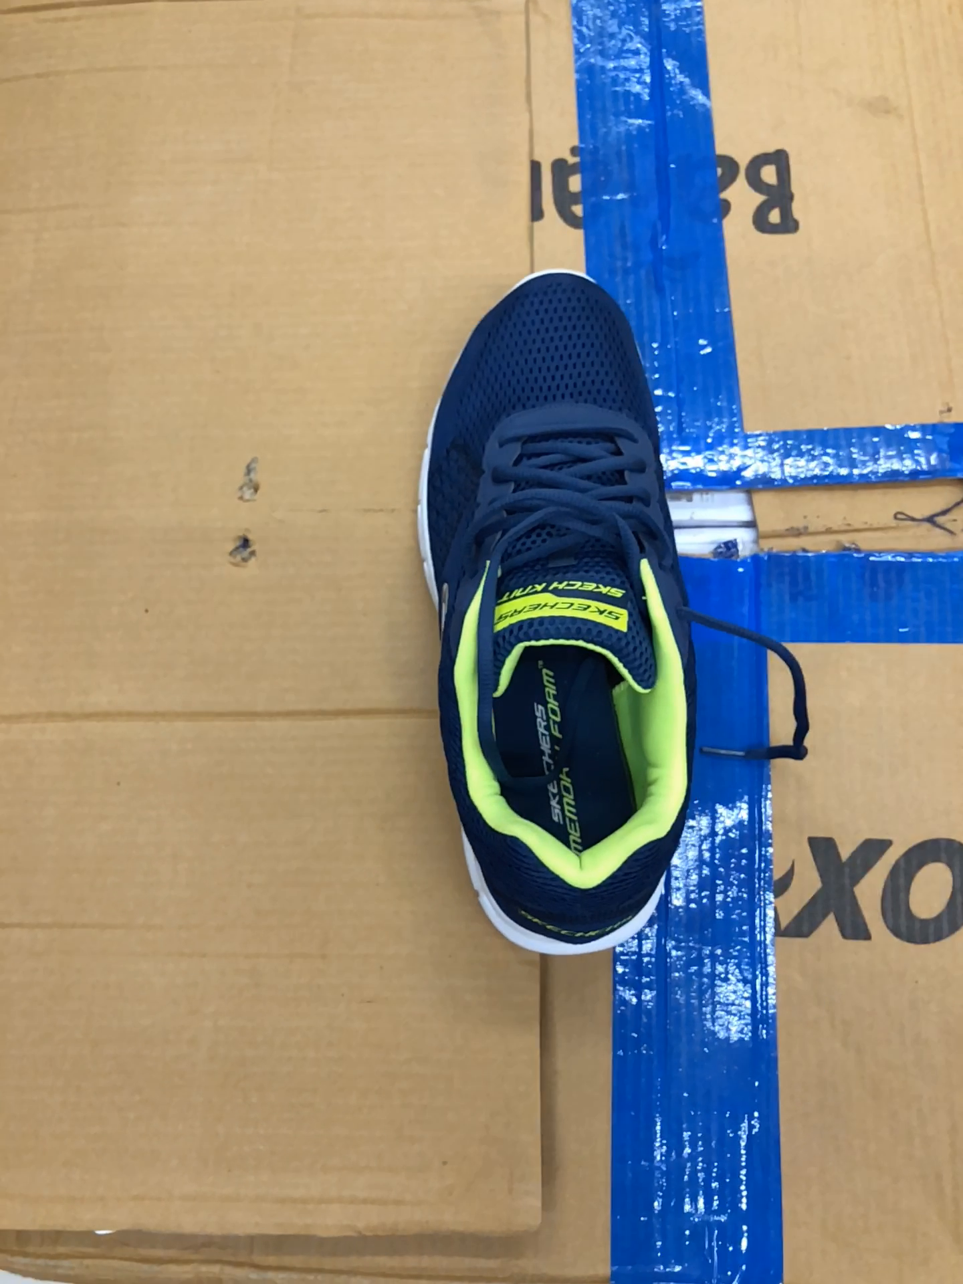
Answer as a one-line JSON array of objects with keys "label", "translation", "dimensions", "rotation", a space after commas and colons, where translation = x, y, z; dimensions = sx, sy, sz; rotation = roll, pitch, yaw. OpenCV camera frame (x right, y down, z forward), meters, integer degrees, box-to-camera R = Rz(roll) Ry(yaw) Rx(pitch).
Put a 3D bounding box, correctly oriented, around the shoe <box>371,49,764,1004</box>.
[{"label": "shoe", "translation": [0.025, -0.034, 0.403], "dimensions": [0.106, 0.146, 0.307], "rotation": [-3, 77, 4]}]
